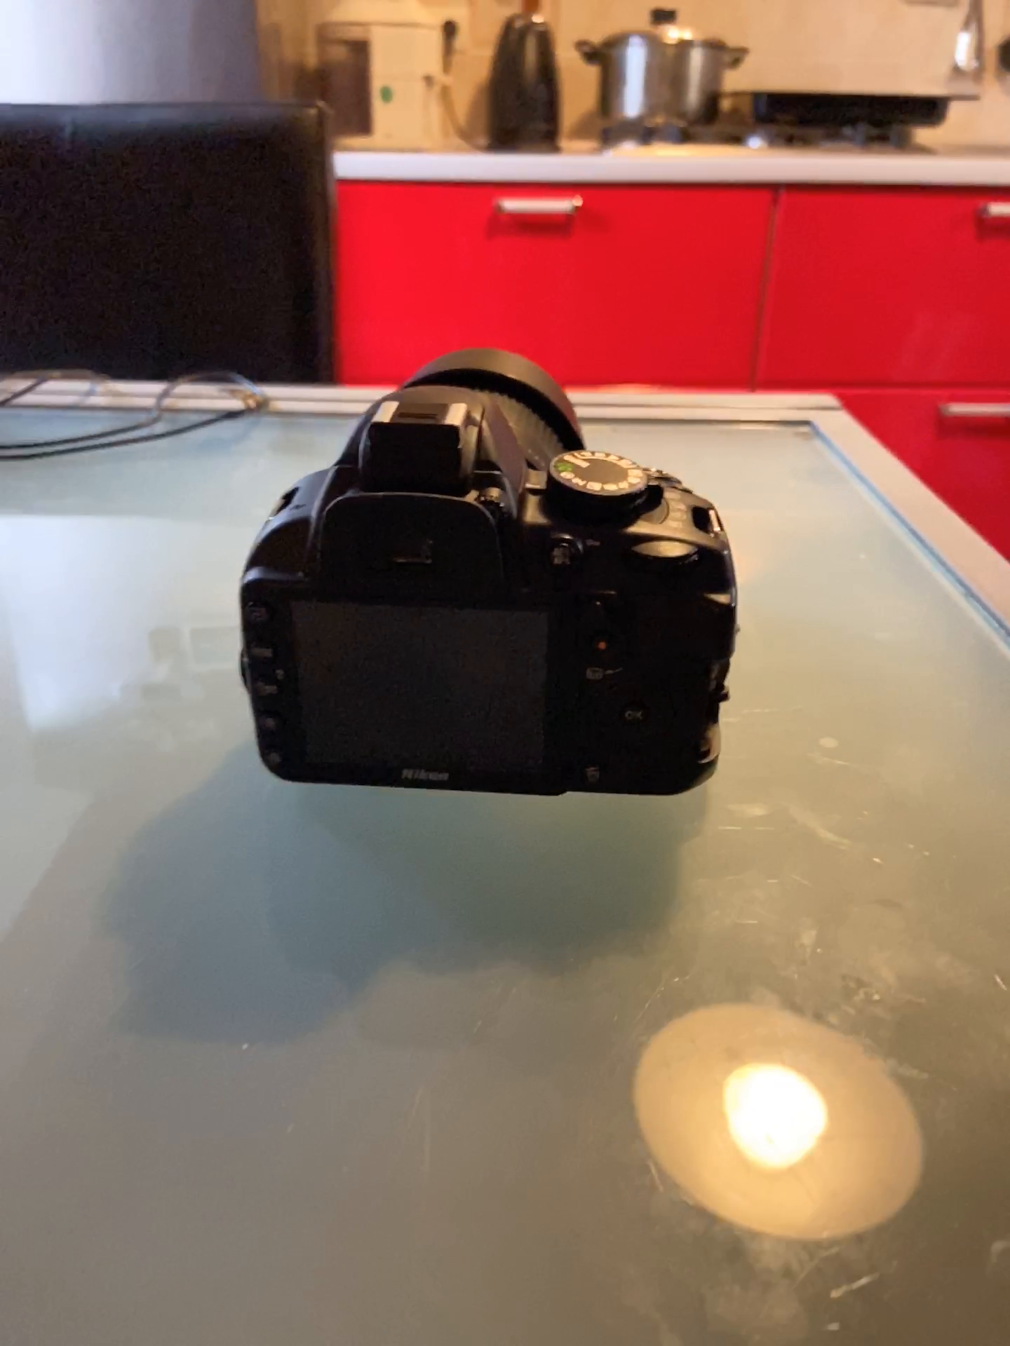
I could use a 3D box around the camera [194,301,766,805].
[{"bbox_3d":[-0.002,-0.054,0.331,0.124,0.094,0.189,2,27,2],"label":"camera"}]
